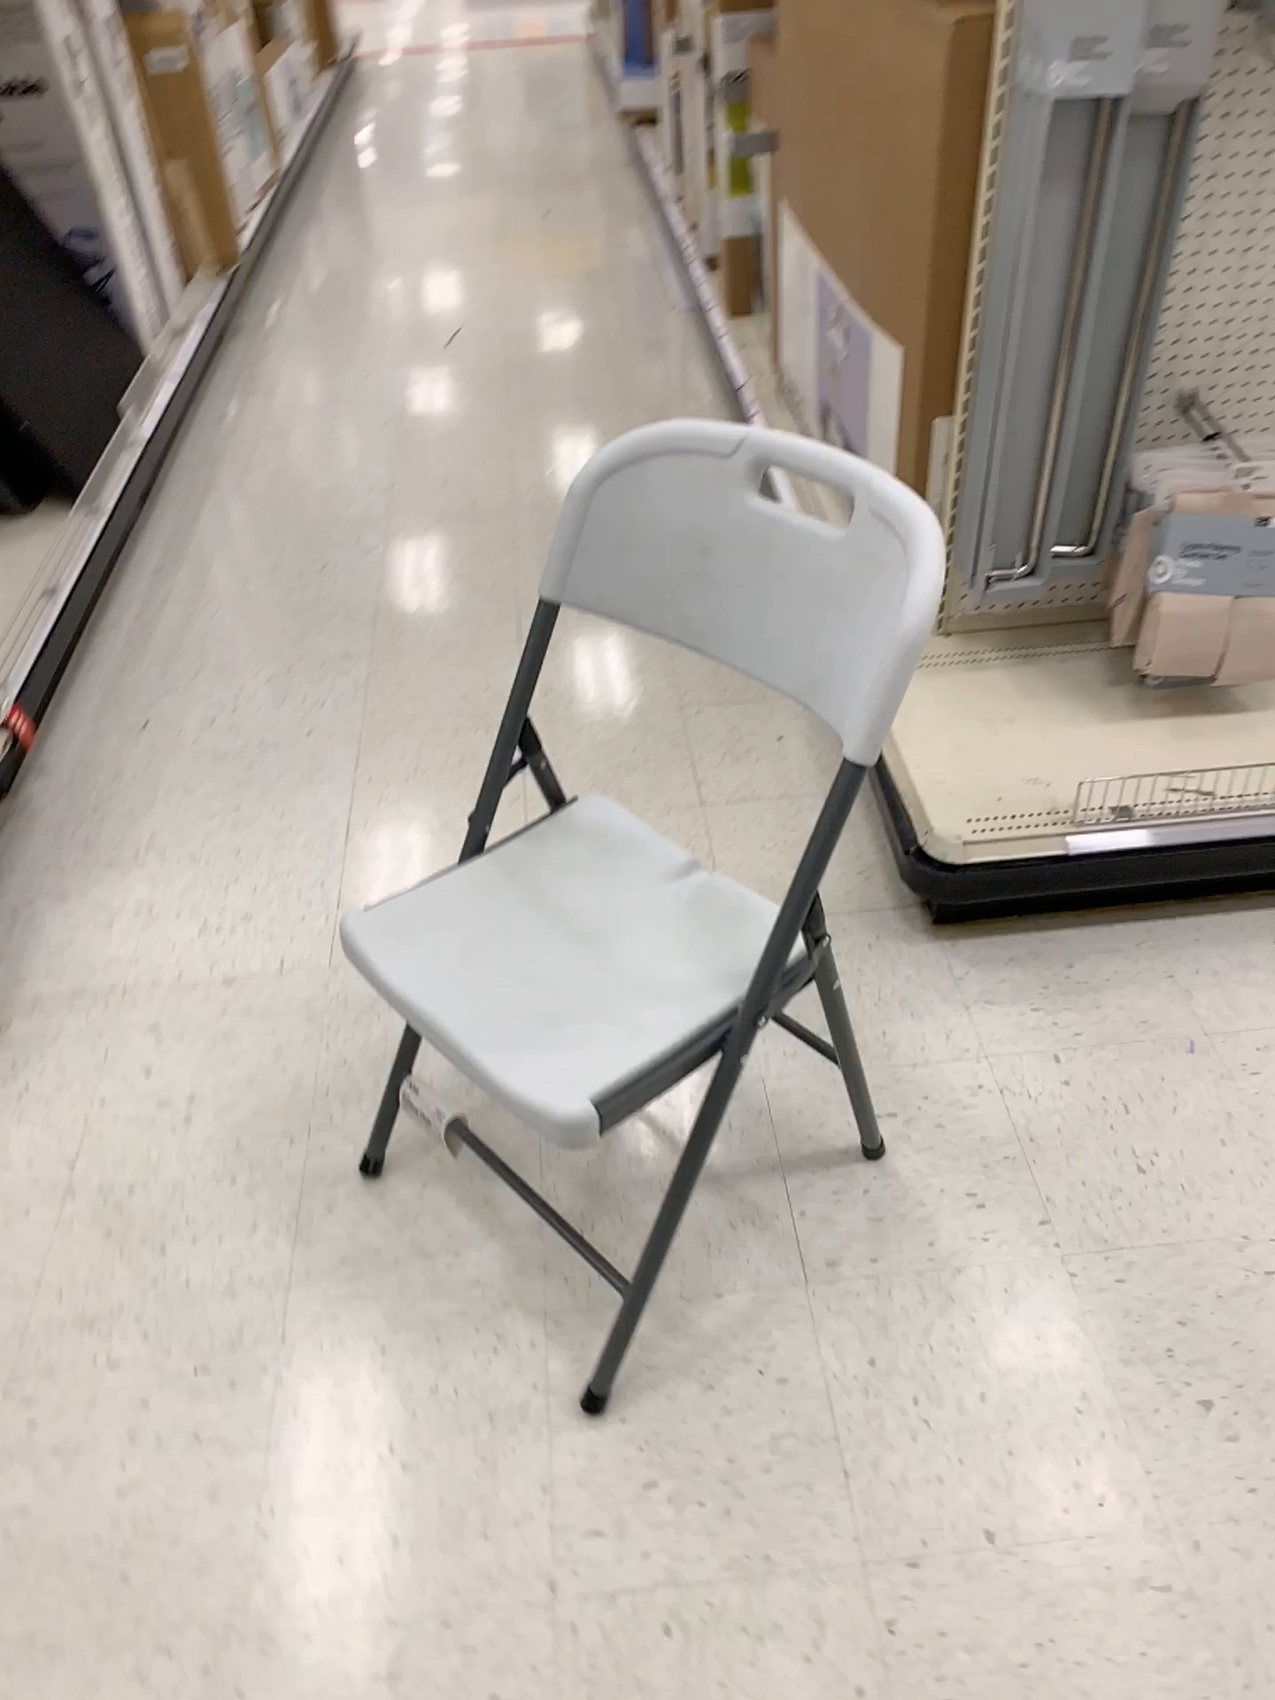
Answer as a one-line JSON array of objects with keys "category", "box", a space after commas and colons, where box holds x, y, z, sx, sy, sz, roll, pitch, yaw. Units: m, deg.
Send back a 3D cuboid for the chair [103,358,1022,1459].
[{"category": "chair", "box": [-0.043, 0.049, 1.352, 0.571, 0.845, 0.522, -33, 47, -30]}]
